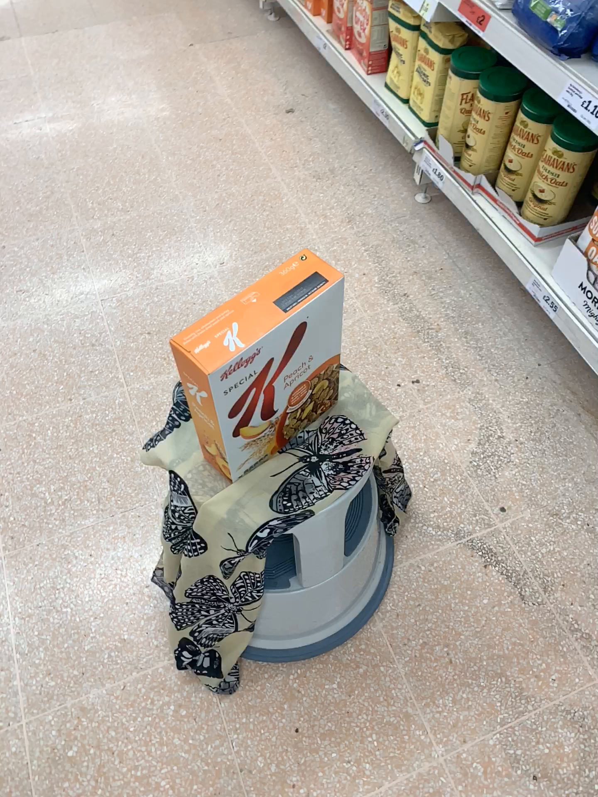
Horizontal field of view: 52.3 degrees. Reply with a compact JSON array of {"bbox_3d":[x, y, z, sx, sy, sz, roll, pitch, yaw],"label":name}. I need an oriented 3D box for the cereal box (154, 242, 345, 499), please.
[{"bbox_3d":[-0.048,-0.022,0.742,0.211,0.268,0.060,-38,64,-24],"label":"cereal box"}]
